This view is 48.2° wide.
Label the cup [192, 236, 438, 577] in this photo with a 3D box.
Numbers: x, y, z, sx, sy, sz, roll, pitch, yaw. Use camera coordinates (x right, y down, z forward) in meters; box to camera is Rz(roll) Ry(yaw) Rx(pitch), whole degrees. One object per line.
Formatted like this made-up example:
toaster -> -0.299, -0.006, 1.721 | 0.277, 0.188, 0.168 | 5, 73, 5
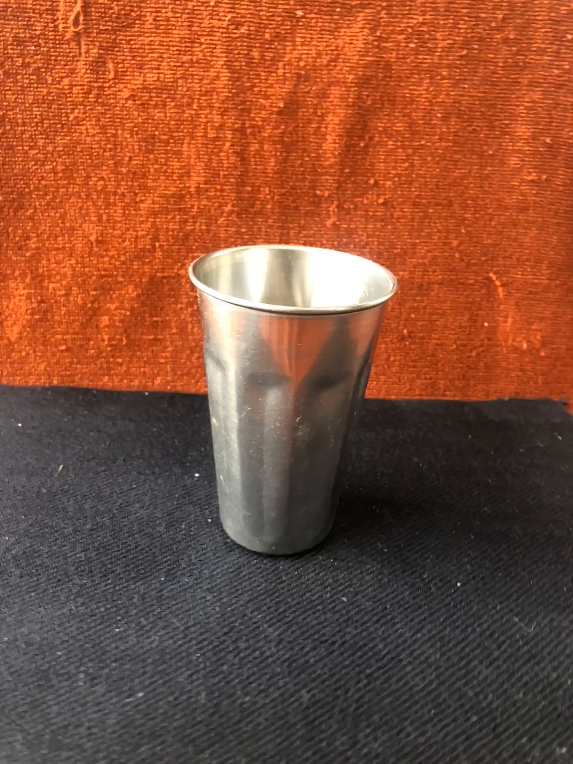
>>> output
cup -> 0.002, 0.006, 0.233 | 0.070, 0.100, 0.070 | 3, 26, -1
